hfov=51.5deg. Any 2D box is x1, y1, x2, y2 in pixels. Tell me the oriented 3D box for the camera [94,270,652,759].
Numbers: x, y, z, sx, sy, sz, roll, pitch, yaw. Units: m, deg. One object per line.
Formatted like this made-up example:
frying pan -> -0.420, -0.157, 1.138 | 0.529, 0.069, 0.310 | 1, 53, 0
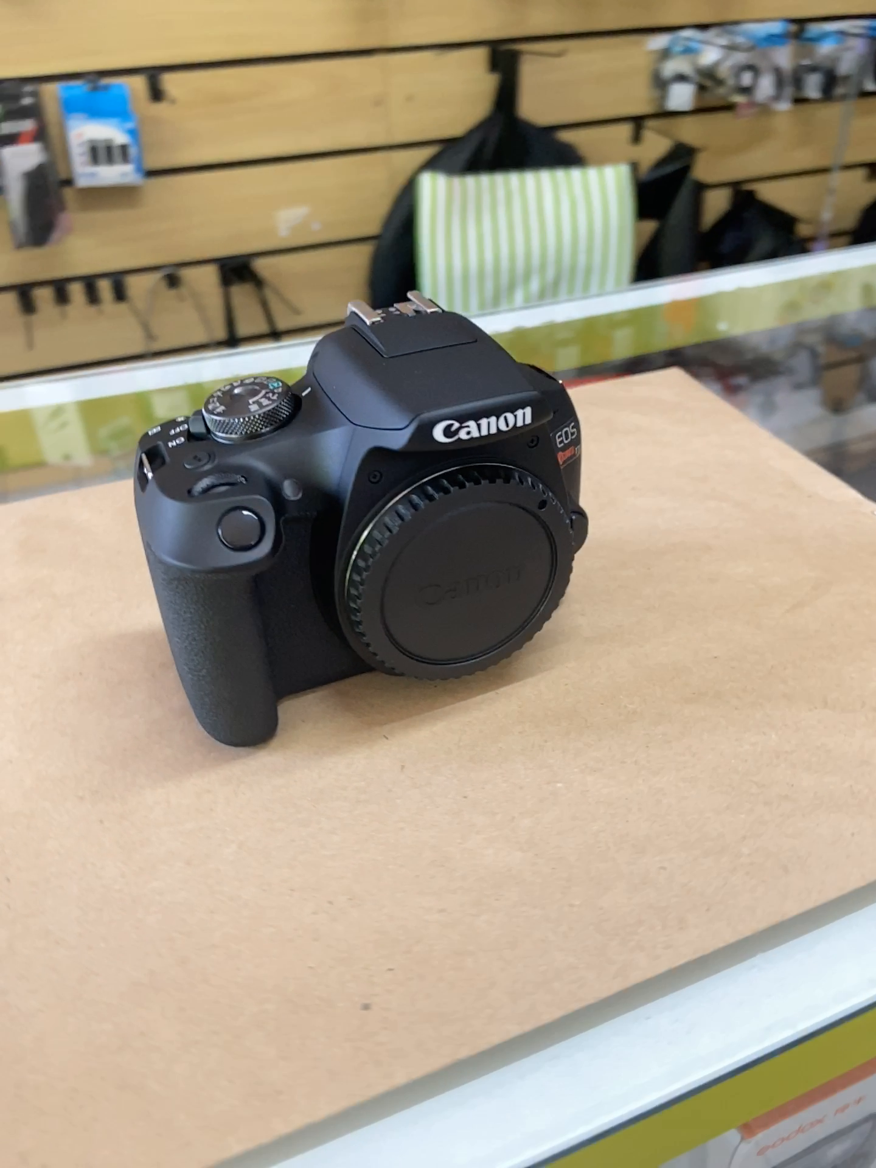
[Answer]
camera -> -0.018, -0.025, 0.264 | 0.131, 0.092, 0.072 | -15, 37, -17
